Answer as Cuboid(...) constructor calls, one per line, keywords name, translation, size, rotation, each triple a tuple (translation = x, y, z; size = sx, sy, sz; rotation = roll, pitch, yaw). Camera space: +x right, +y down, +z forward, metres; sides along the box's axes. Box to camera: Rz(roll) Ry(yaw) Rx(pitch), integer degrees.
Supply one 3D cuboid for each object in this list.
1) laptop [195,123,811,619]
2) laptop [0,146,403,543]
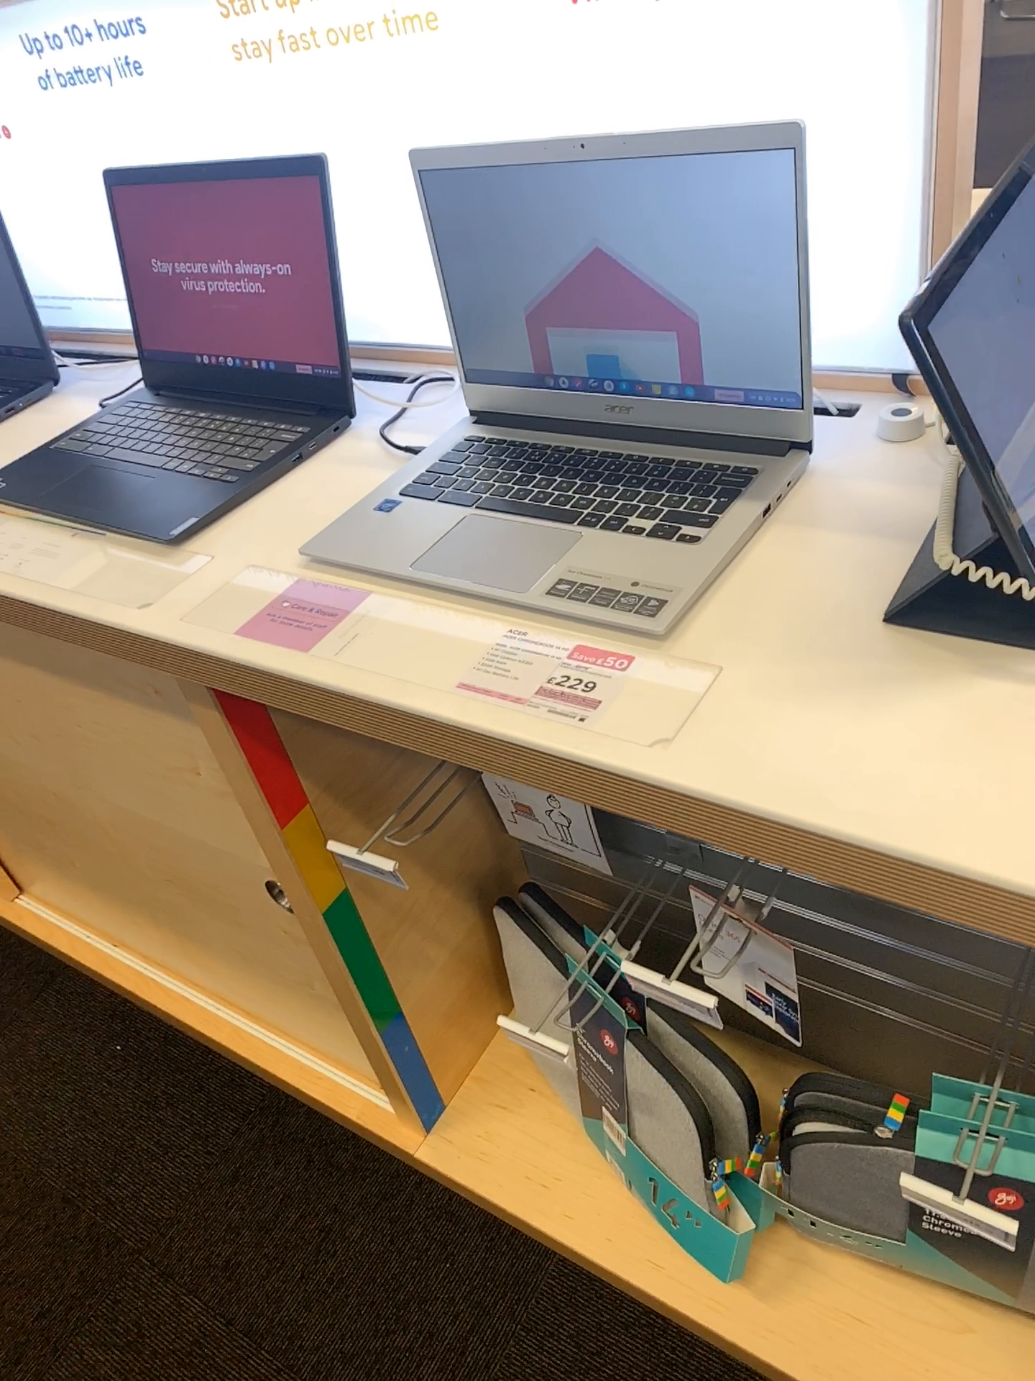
Cuboid(name="laptop", translation=(0.006, -0.227, 0.714), size=(0.304, 0.206, 0.238), rotation=(14, 45, 31))
Cuboid(name="laptop", translation=(-0.337, -0.322, 0.949), size=(0.309, 0.204, 0.284), rotation=(17, 49, 33))
